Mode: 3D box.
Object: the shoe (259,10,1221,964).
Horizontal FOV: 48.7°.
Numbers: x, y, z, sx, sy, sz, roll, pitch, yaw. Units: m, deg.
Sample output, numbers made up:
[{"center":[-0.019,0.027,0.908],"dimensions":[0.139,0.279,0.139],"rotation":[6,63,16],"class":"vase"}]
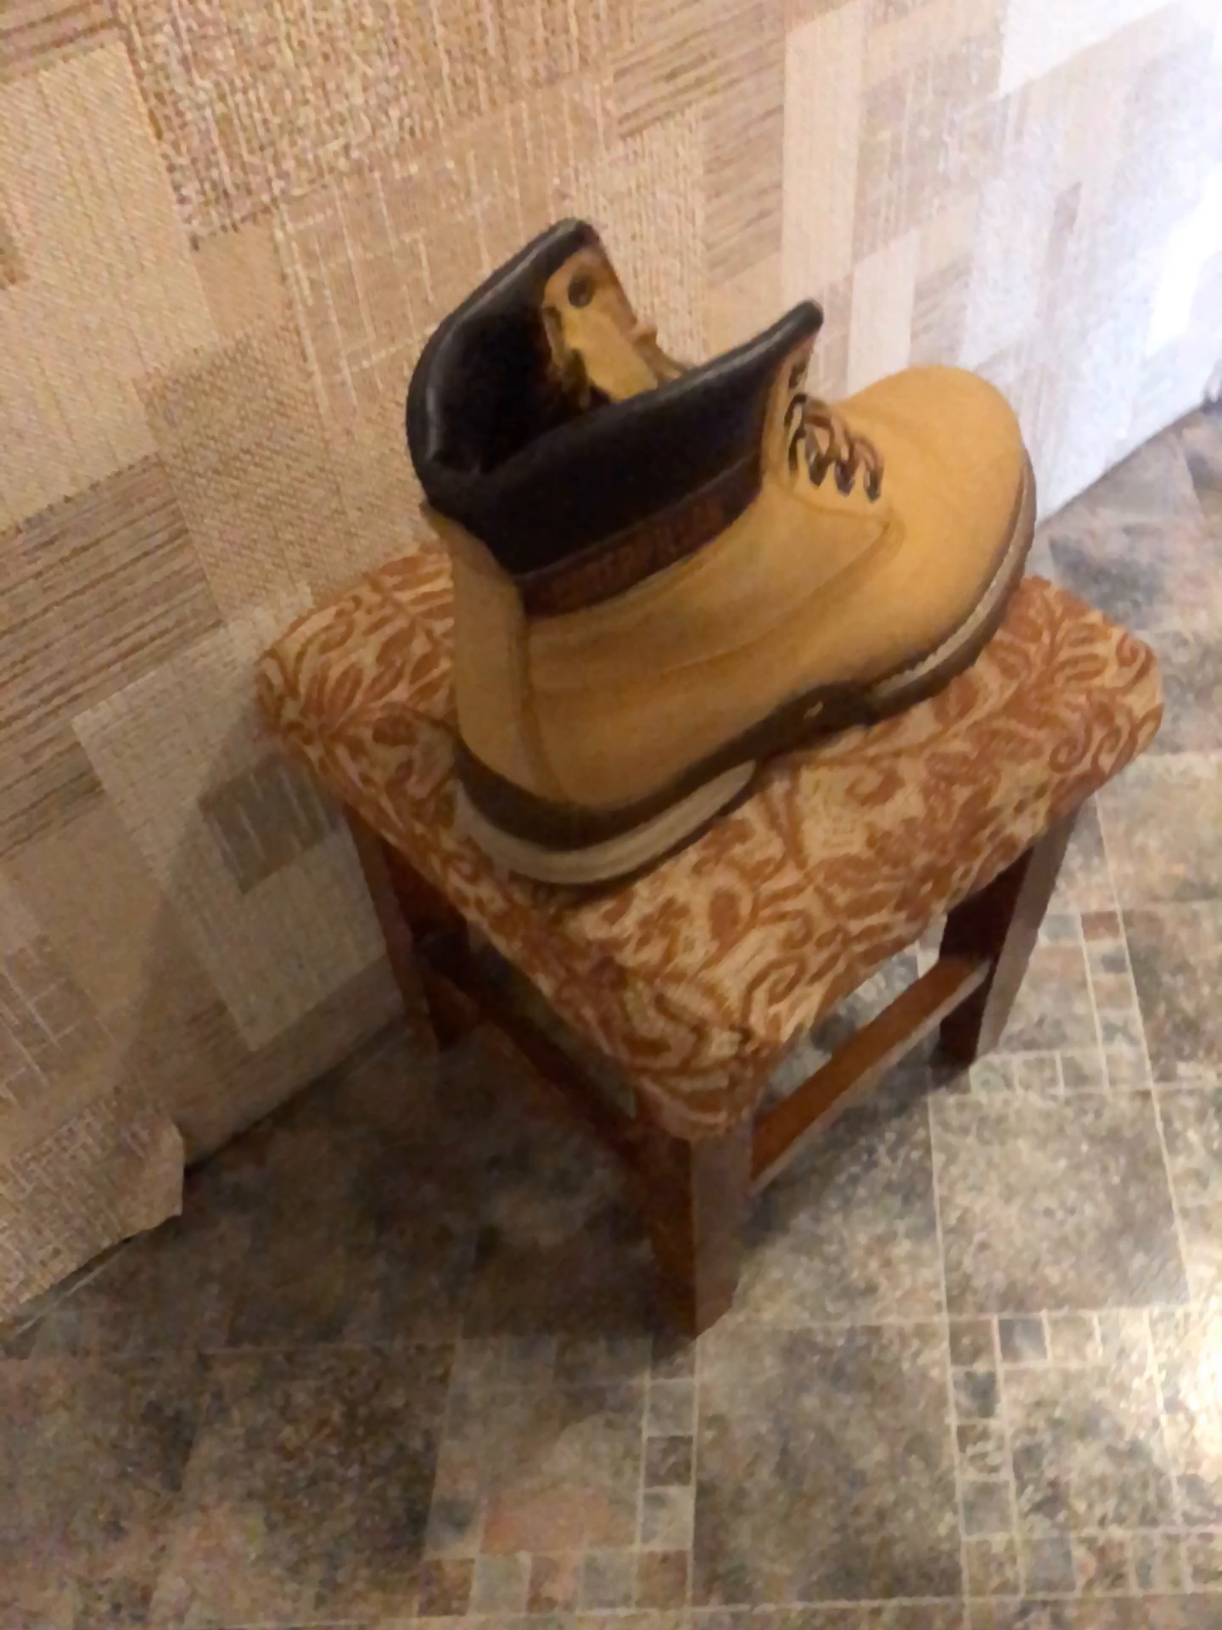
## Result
[{"center":[0.056,-0.124,0.482],"dimensions":[0.290,0.189,0.130],"rotation":[-37,56,-24],"class":"shoe"}]
